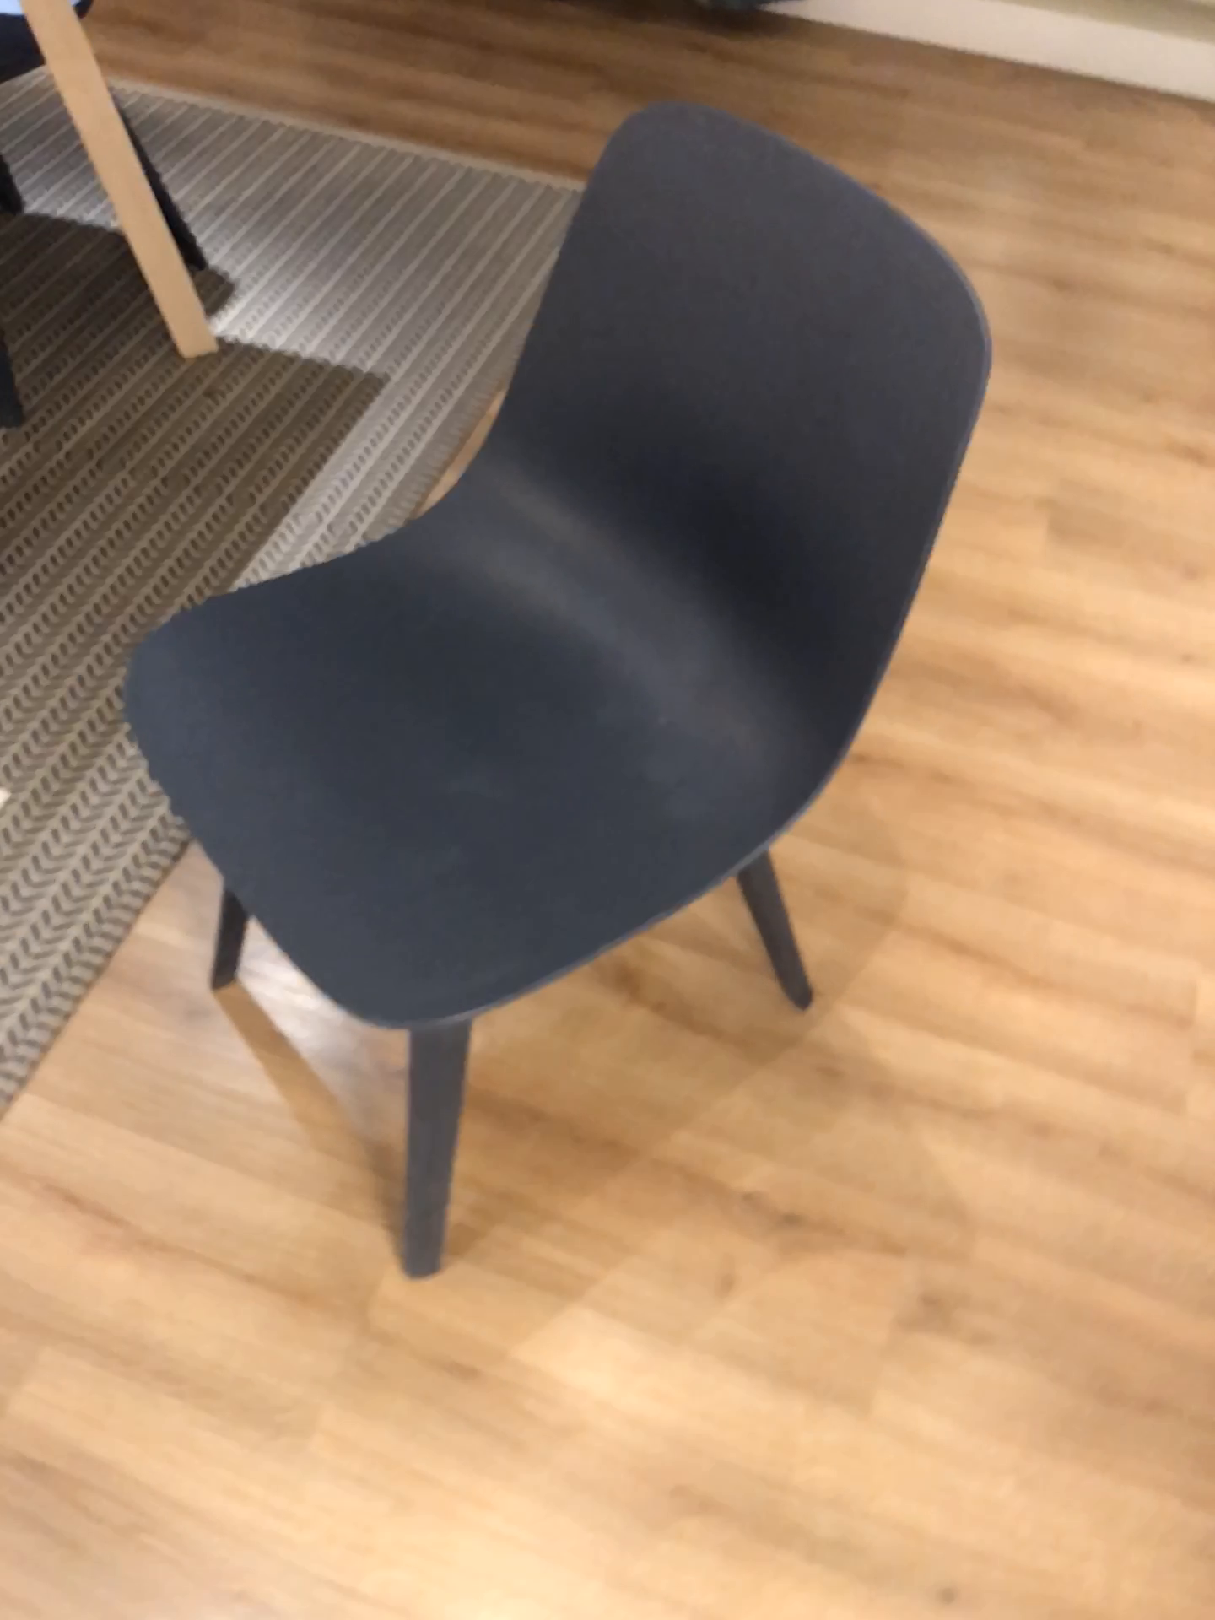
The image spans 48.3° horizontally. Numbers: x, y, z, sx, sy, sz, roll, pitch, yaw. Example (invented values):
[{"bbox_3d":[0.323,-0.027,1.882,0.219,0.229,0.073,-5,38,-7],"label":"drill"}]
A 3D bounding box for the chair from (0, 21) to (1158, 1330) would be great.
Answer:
[{"bbox_3d":[-0.066,-0.074,1.056,0.561,0.728,0.471,-30,59,-24],"label":"chair"}]
